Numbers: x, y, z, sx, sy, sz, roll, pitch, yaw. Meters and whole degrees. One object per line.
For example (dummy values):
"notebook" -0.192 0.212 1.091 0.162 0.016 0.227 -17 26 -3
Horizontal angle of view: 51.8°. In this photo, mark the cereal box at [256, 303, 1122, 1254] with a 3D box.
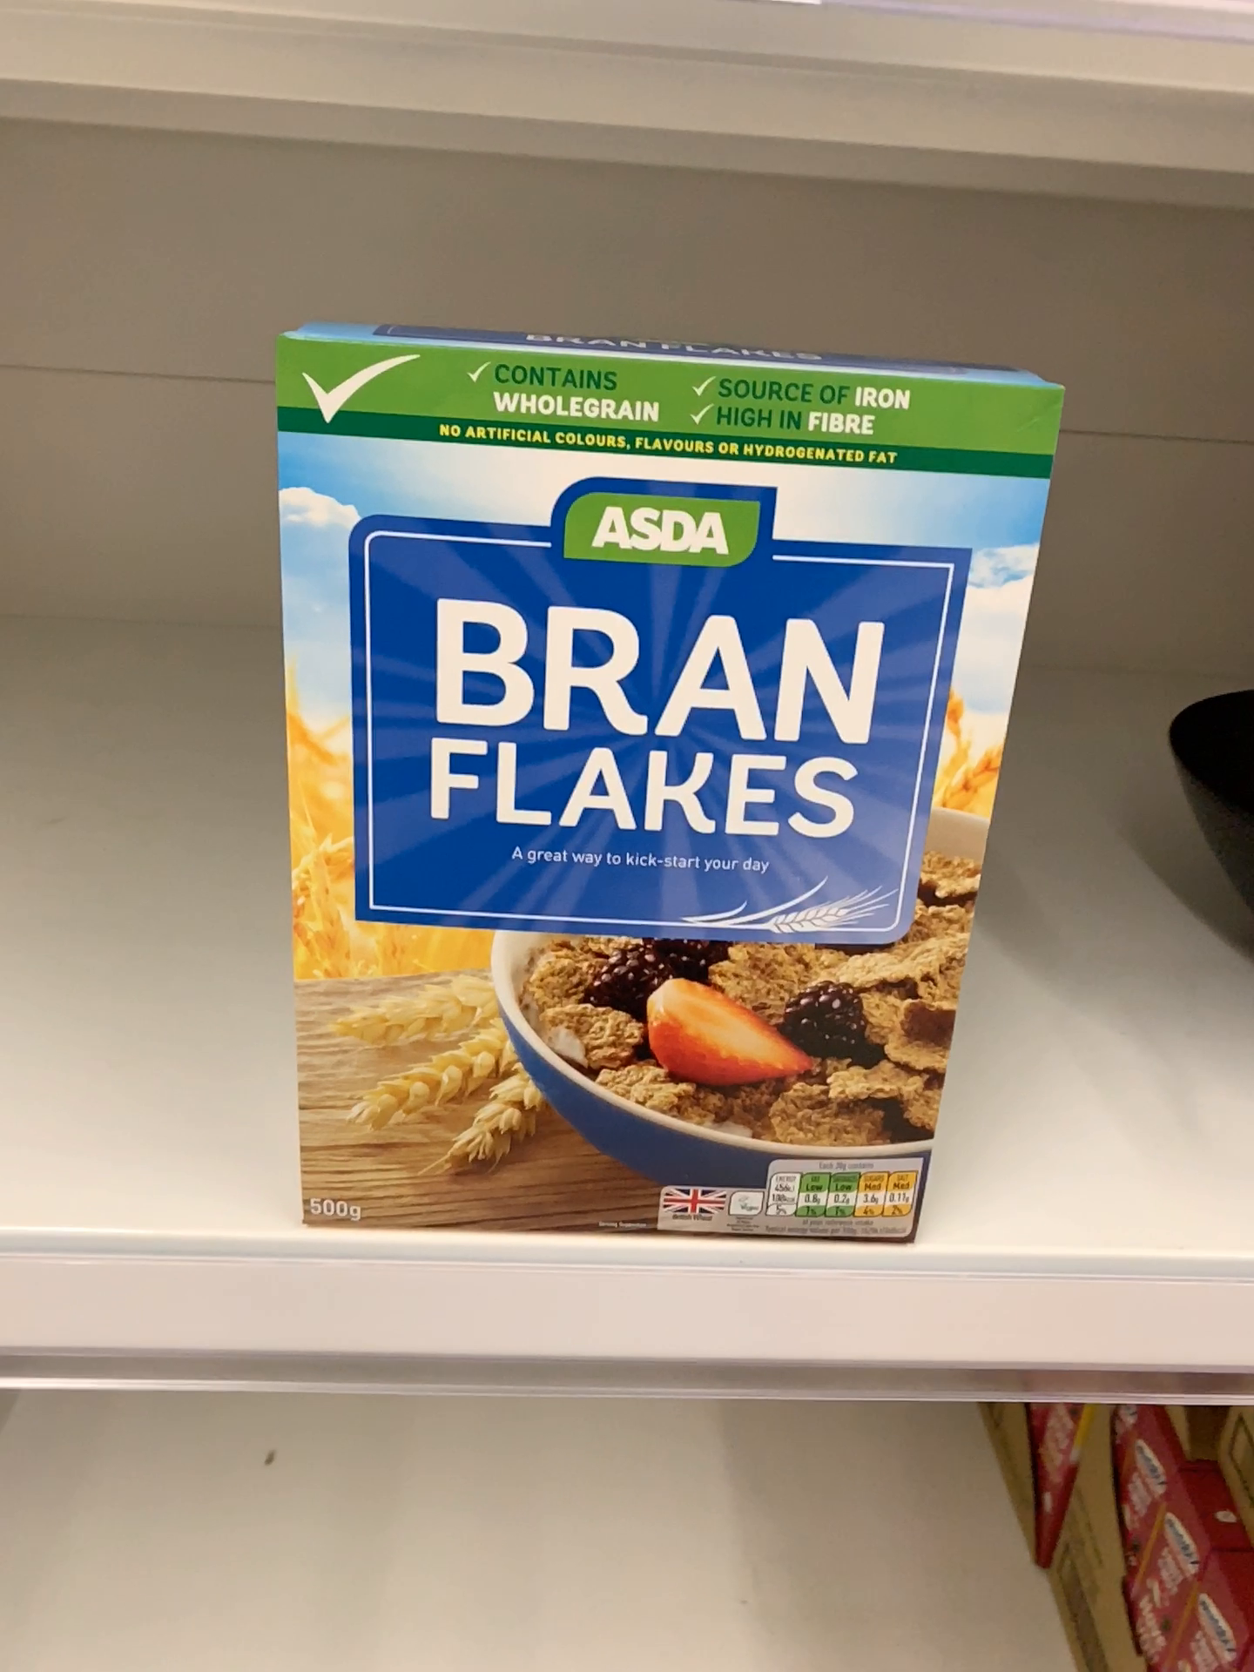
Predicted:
"cereal box" 0.008 -0.011 0.411 0.220 0.278 0.081 3 20 -3
